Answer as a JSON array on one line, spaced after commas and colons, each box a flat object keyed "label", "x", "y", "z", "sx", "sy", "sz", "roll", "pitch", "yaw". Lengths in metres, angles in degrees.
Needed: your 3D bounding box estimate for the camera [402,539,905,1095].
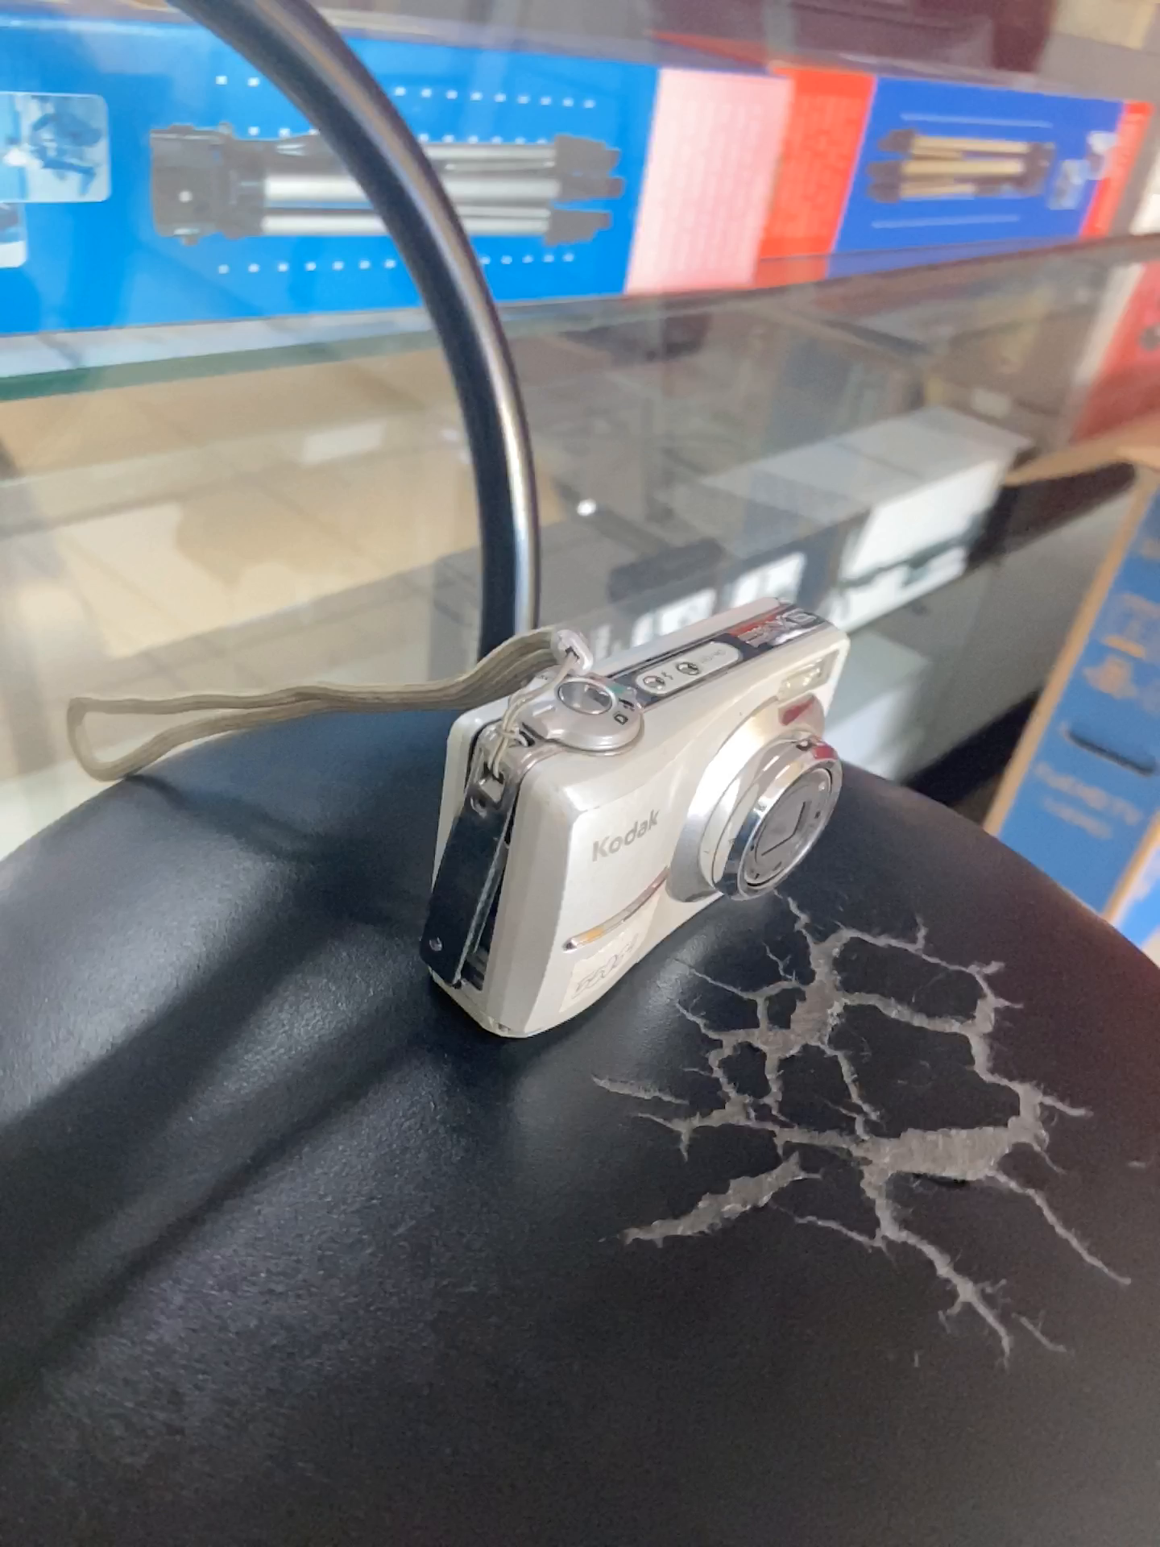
[{"label": "camera", "x": 0.015, "y": 0.004, "z": 0.237, "sx": 0.040, "sy": 0.070, "sz": 0.090, "roll": 32, "pitch": 40, "yaw": 28}]
